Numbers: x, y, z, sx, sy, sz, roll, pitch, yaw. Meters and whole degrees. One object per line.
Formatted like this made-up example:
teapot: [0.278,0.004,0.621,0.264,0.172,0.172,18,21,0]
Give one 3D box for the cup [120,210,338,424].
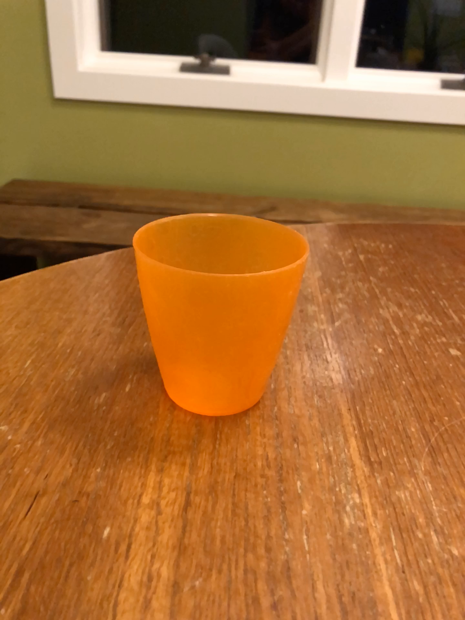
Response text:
cup: [-0.006,-0.002,0.237,0.079,0.066,0.080,3,27,-1]
